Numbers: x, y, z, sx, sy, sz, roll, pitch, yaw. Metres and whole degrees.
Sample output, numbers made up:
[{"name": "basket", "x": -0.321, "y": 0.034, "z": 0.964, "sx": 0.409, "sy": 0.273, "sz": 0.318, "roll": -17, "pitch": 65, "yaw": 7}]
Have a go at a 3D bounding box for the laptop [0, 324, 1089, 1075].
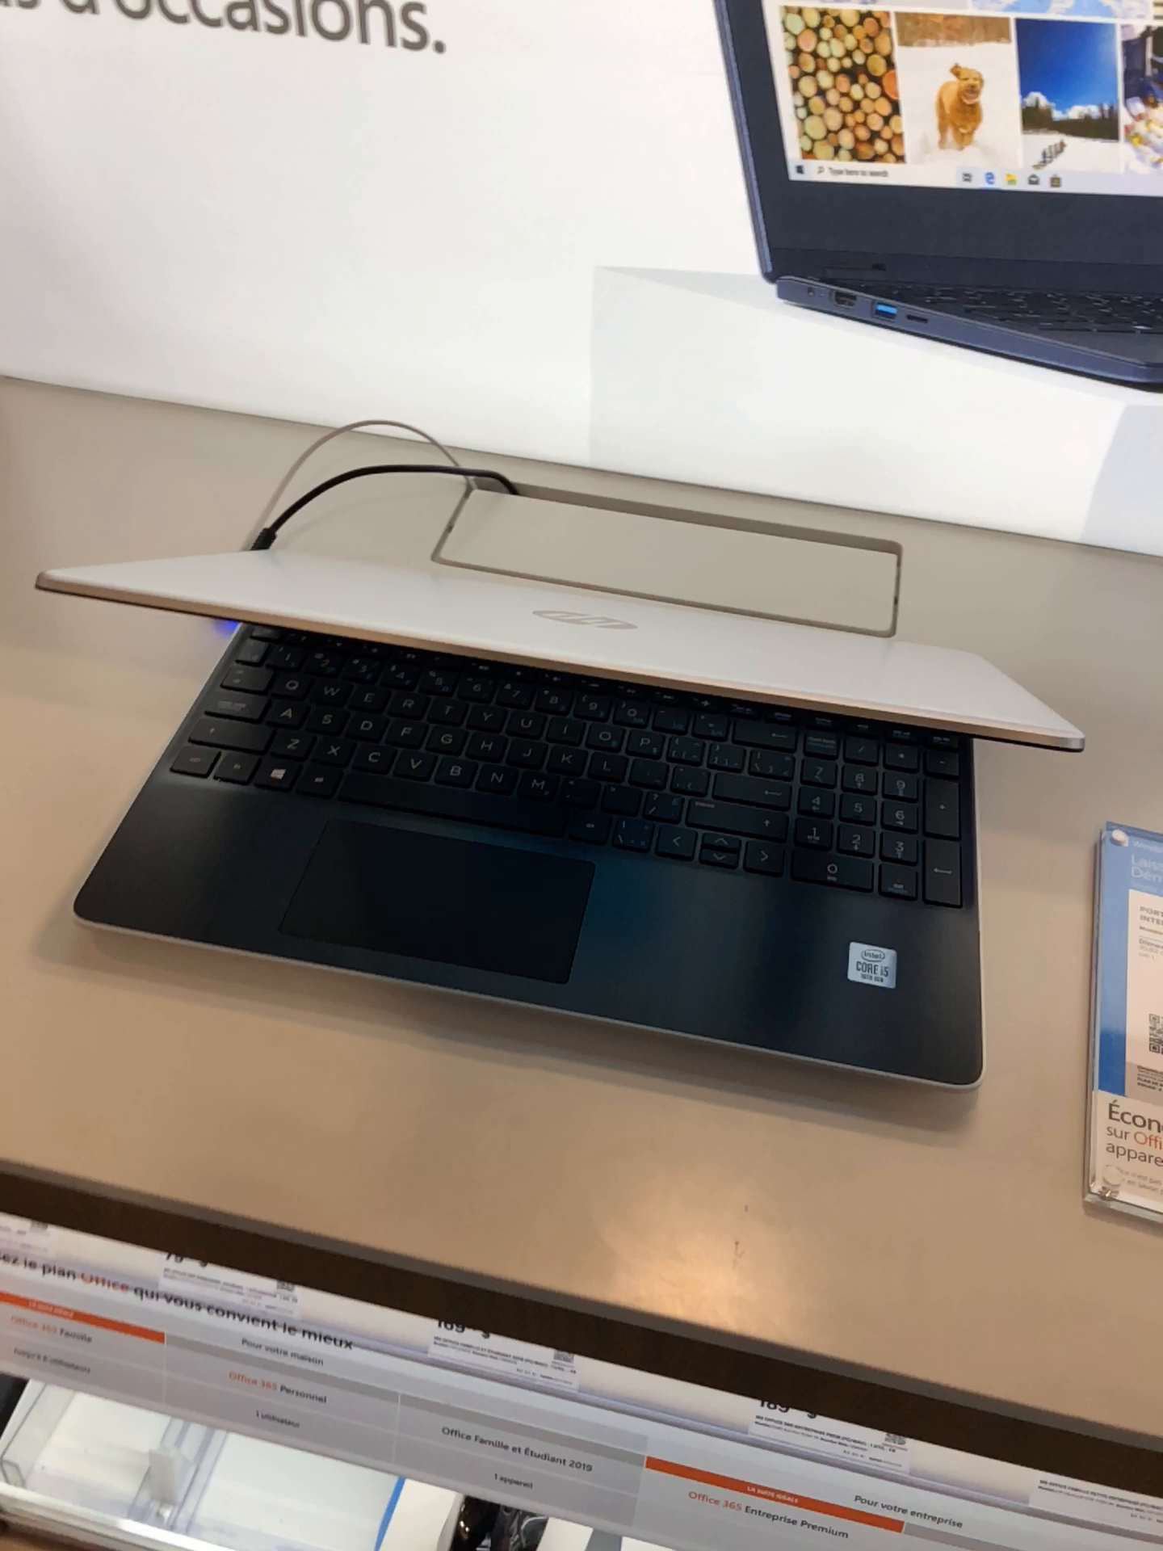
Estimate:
[{"name": "laptop", "x": -0.003, "y": -0.047, "z": 0.517, "sx": 0.345, "sy": 0.131, "sz": 0.230, "roll": 9, "pitch": 46, "yaw": 7}]
